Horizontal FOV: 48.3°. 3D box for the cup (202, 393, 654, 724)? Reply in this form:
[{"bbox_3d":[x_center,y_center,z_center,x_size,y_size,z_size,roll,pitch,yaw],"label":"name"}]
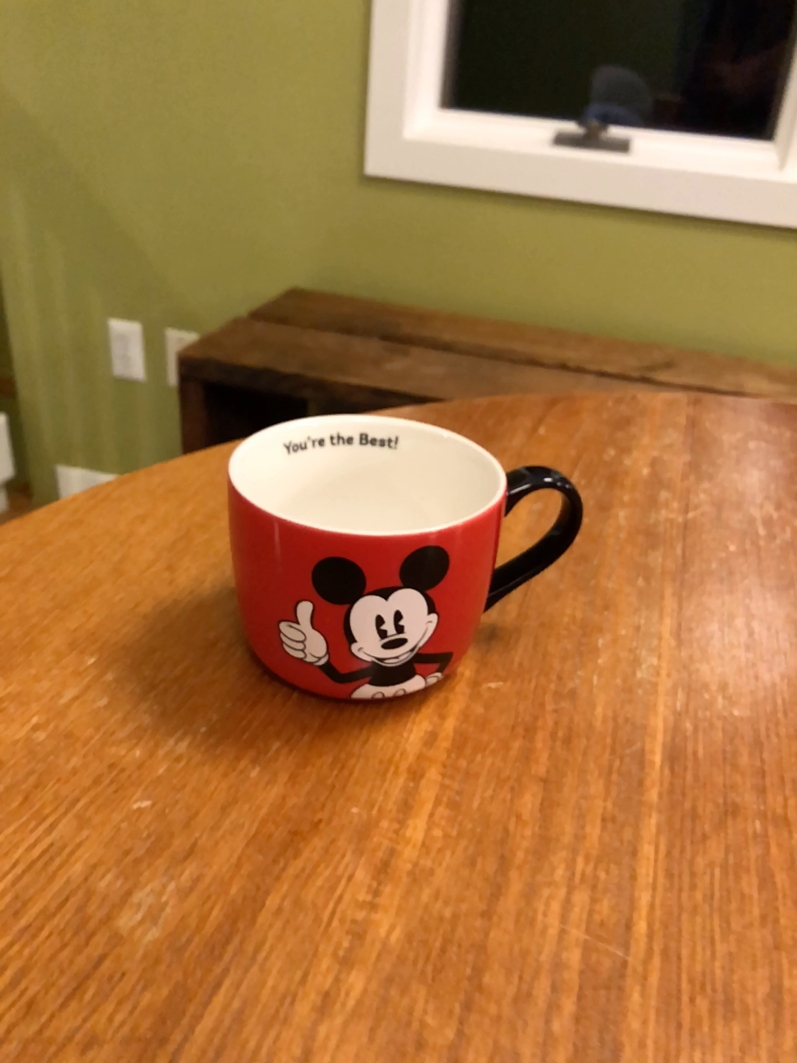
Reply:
[{"bbox_3d":[0.006,0.001,0.355,0.143,0.069,0.103,-9,32,-23],"label":"cup"}]
